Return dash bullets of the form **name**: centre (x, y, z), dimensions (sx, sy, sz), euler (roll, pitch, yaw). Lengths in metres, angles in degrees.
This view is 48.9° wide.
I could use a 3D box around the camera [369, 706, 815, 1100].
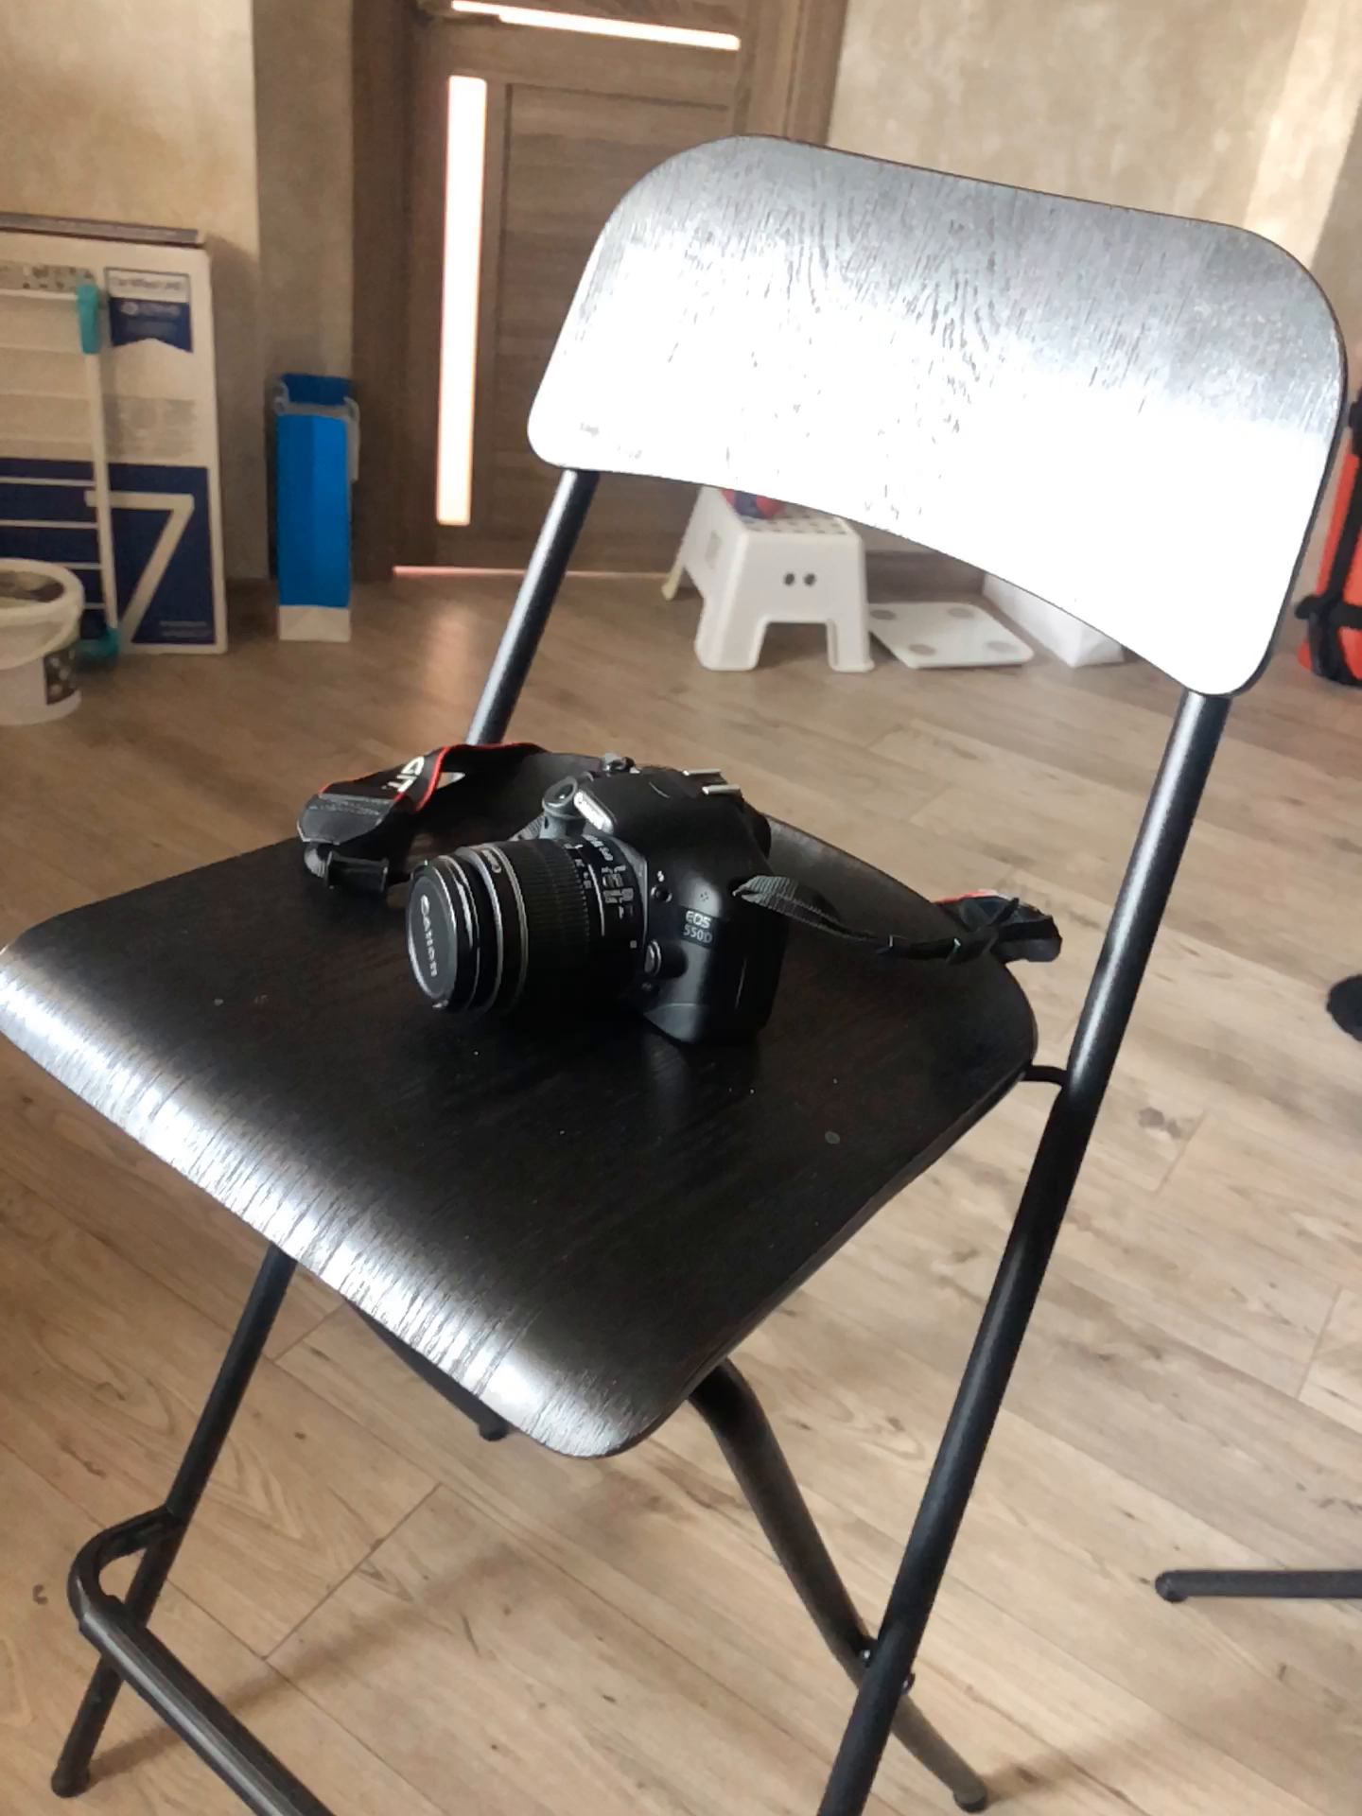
- **camera**: centre (-0.042, -0.009, 0.622), dimensions (0.140, 0.092, 0.121), euler (-11, 36, -27)
